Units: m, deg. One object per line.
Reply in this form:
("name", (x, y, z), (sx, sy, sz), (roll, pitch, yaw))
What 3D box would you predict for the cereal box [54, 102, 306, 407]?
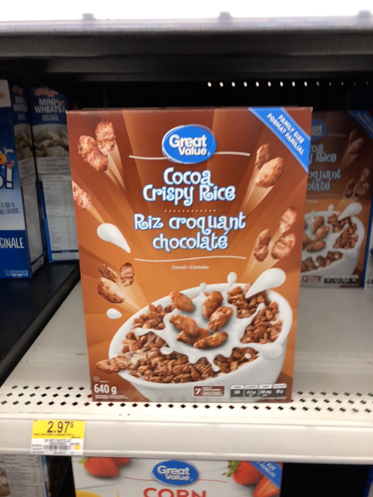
("cereal box", (-0.003, 0.010, 0.426), (0.210, 0.298, 0.080), (-1, 17, 1))
